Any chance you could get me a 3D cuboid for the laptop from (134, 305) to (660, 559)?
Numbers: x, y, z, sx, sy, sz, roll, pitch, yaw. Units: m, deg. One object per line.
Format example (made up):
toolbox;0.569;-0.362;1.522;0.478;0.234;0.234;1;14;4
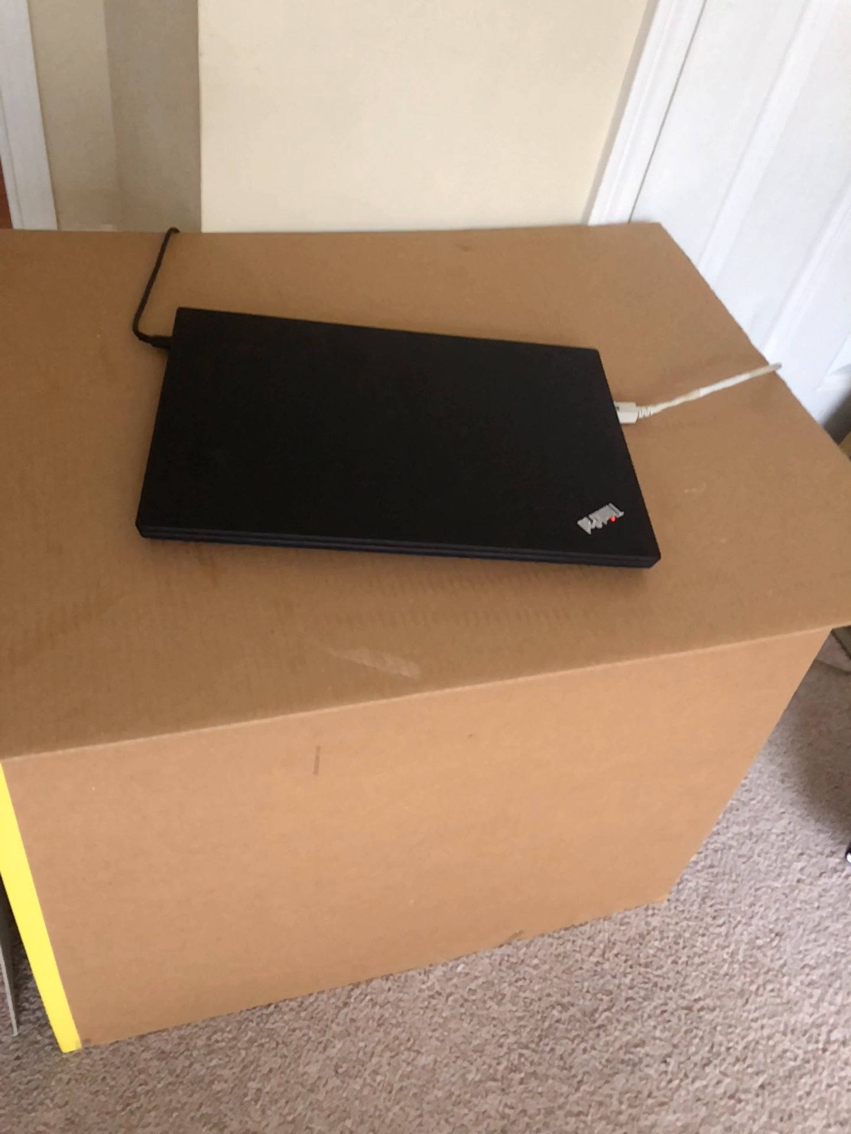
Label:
laptop;-0.015;-0.100;0.649;0.327;0.002;0.226;4;48;-10
